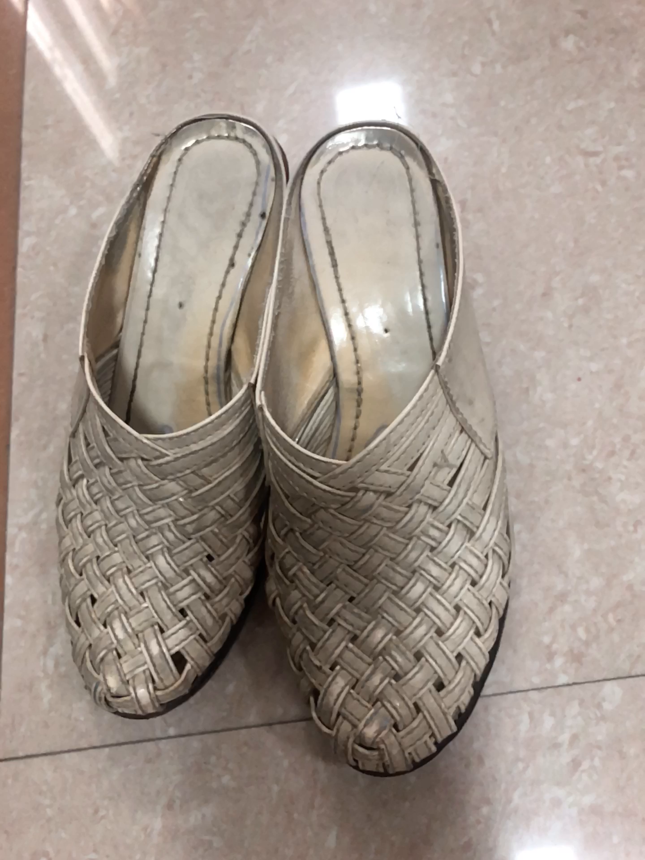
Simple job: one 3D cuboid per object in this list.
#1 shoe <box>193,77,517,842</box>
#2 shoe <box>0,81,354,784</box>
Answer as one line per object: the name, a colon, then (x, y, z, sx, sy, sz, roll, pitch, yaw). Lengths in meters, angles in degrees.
shoe: (0.019, 0.004, 0.268, 0.090, 0.080, 0.240, -2, 73, 14)
shoe: (-0.057, -0.007, 0.284, 0.090, 0.080, 0.240, 6, 75, 14)
